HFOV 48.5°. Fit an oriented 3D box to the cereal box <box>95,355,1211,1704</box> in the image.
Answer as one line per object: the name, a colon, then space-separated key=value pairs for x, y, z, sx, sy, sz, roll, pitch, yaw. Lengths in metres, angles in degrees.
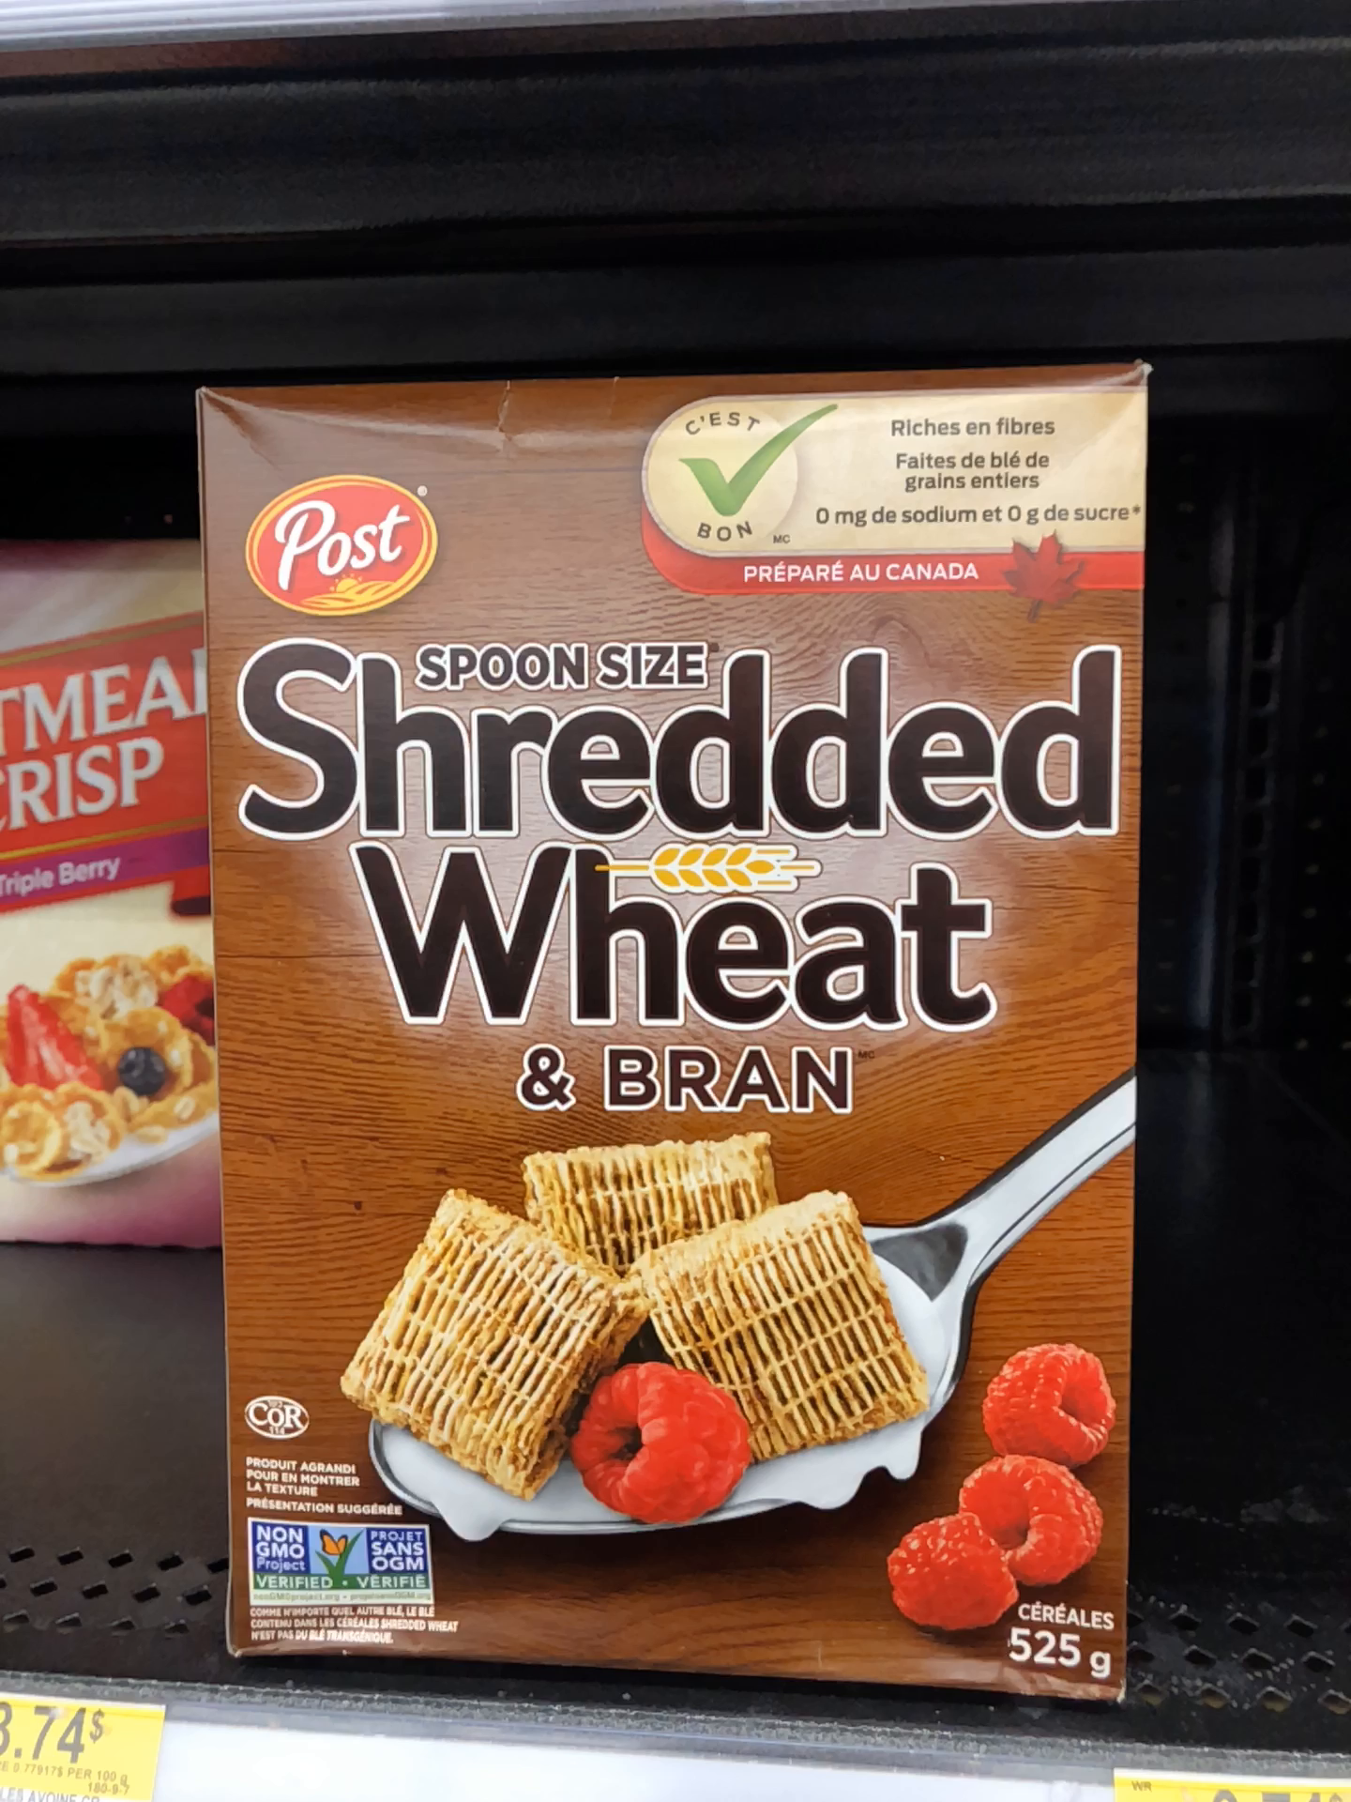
cereal box: x=-0.005 y=0.026 z=0.323 sx=0.210 sy=0.260 sz=0.060 roll=0 pitch=5 yaw=4
